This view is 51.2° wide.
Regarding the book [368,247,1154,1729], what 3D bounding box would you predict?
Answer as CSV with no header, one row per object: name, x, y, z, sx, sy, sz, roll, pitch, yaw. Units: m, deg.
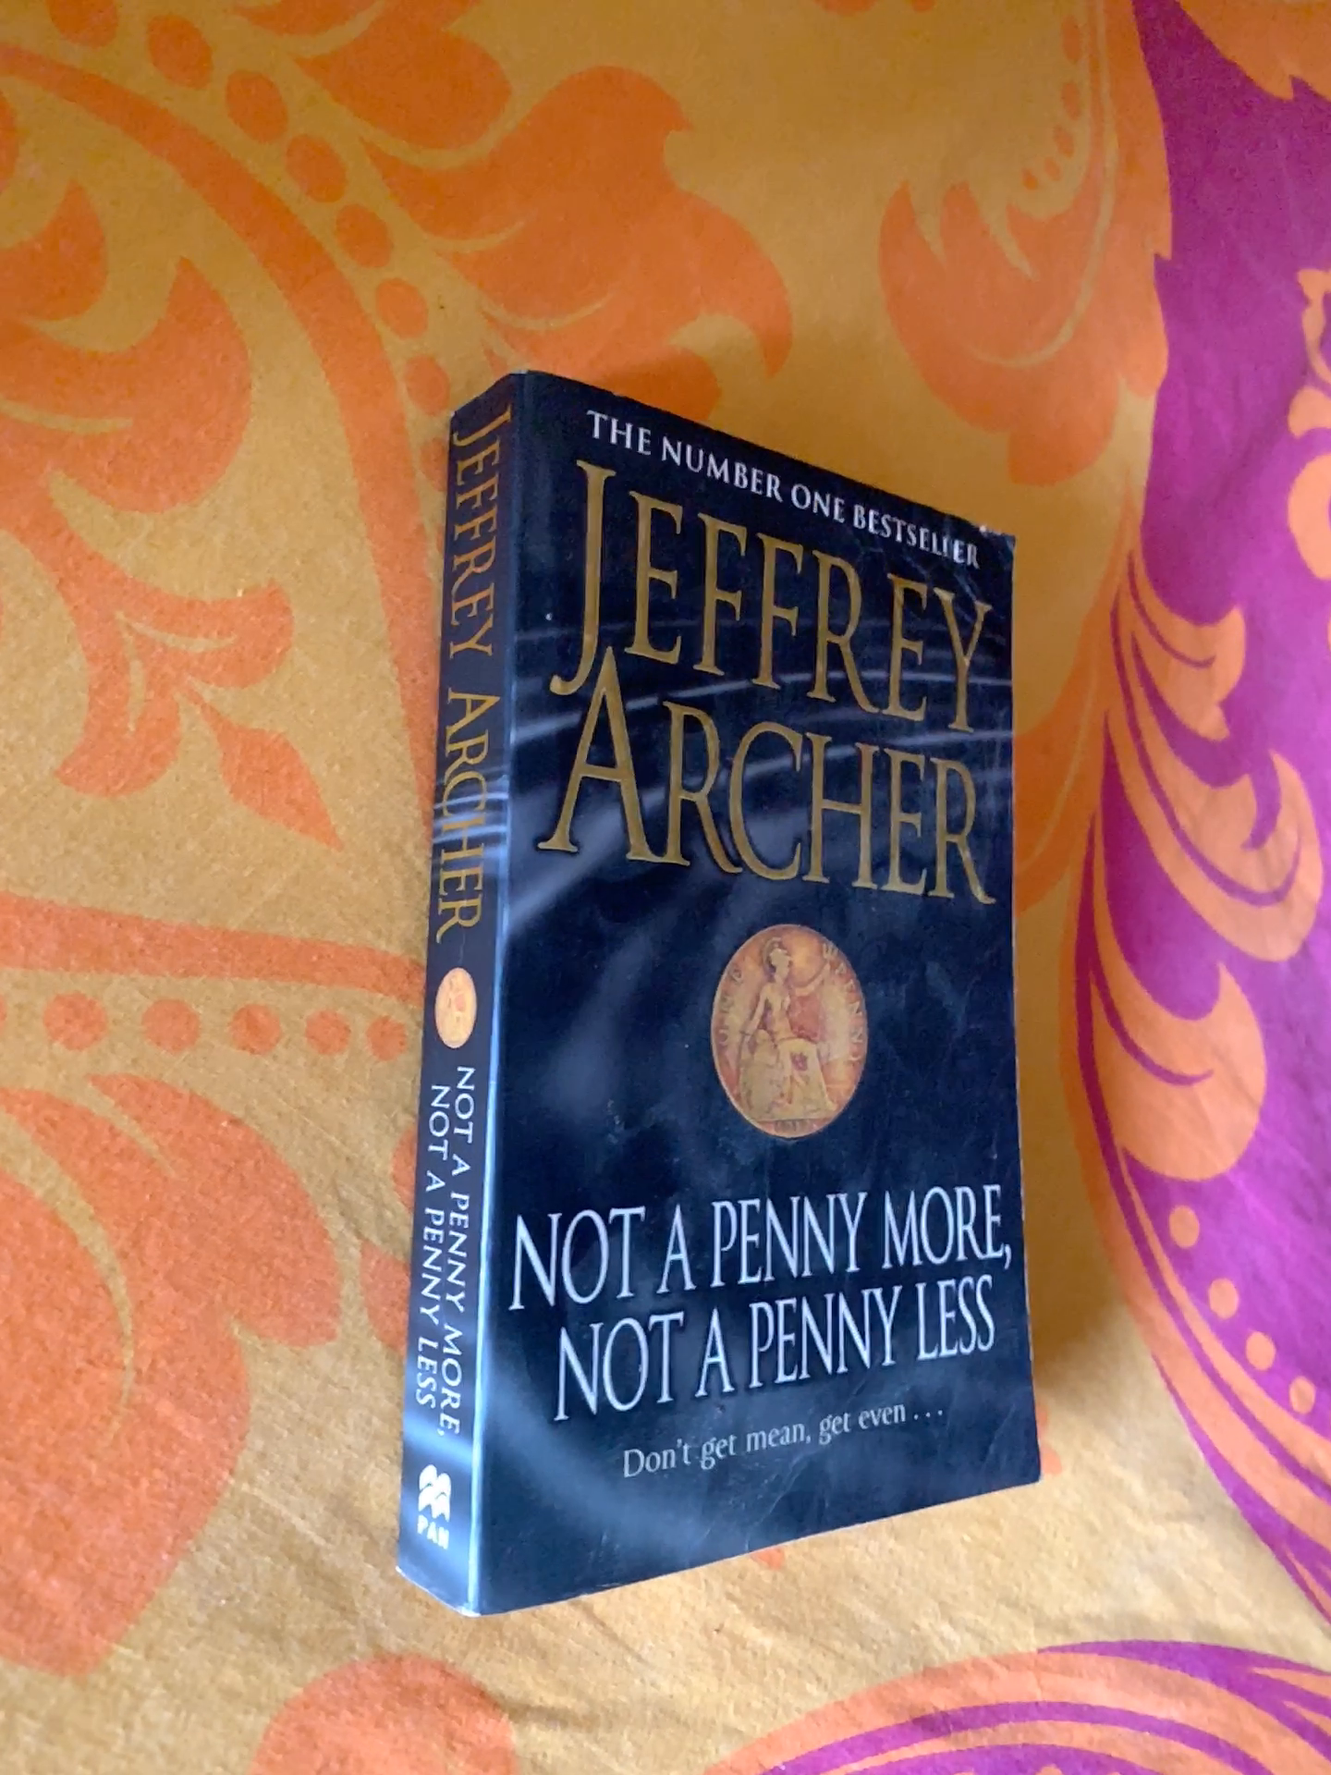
book,0.018,0.011,0.195,0.110,0.030,0.160,6,79,-37
